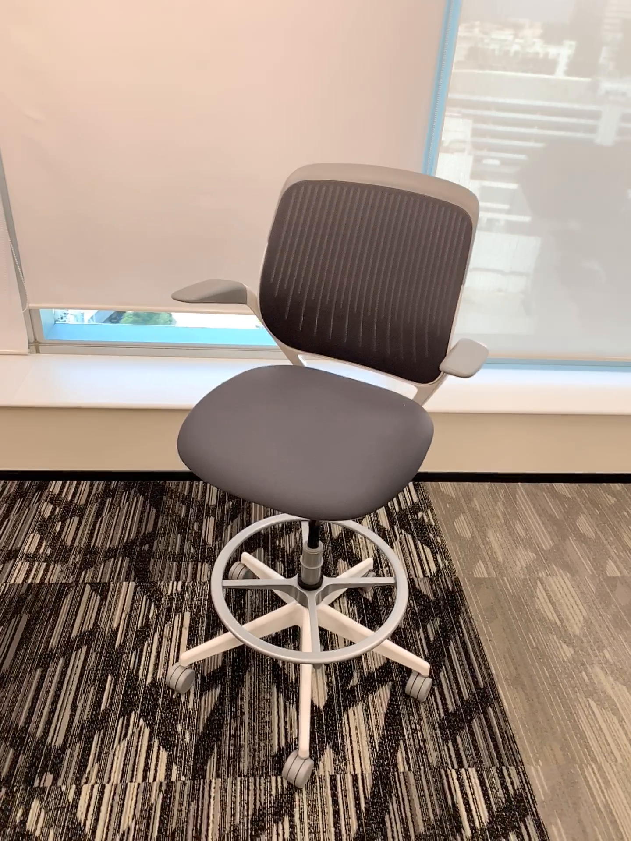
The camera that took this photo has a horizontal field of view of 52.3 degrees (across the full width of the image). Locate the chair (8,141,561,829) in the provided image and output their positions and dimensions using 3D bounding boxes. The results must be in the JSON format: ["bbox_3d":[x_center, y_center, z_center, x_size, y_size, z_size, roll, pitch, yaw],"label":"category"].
[{"bbox_3d":[-0.041,0.088,1.413,0.692,1.140,0.695,21,35,24],"label":"chair"}]
